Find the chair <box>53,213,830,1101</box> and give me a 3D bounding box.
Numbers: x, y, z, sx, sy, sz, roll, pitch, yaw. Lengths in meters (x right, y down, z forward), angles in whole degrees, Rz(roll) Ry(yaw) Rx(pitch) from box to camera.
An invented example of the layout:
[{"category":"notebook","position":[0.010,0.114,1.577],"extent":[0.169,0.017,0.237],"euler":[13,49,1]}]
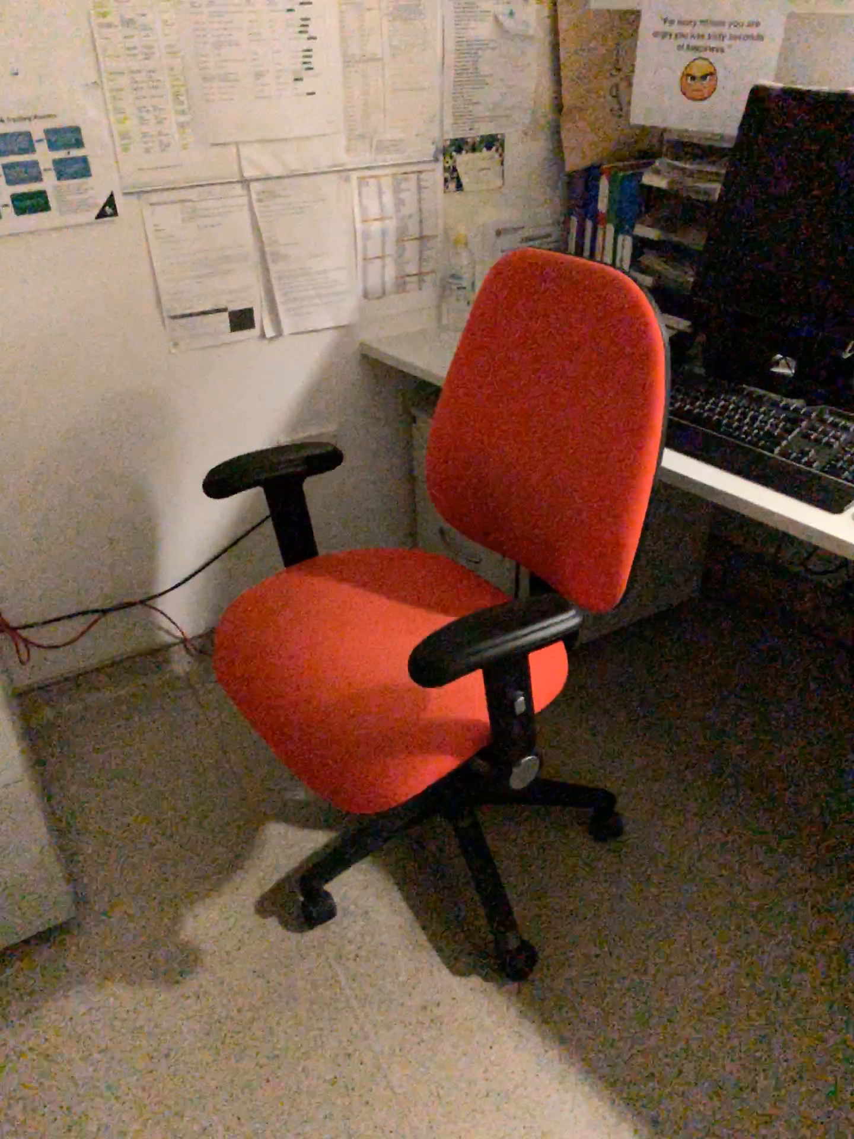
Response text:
[{"category":"chair","position":[0.013,0.056,1.295],"extent":[0.653,0.921,0.674],"euler":[-27,41,-34]}]
